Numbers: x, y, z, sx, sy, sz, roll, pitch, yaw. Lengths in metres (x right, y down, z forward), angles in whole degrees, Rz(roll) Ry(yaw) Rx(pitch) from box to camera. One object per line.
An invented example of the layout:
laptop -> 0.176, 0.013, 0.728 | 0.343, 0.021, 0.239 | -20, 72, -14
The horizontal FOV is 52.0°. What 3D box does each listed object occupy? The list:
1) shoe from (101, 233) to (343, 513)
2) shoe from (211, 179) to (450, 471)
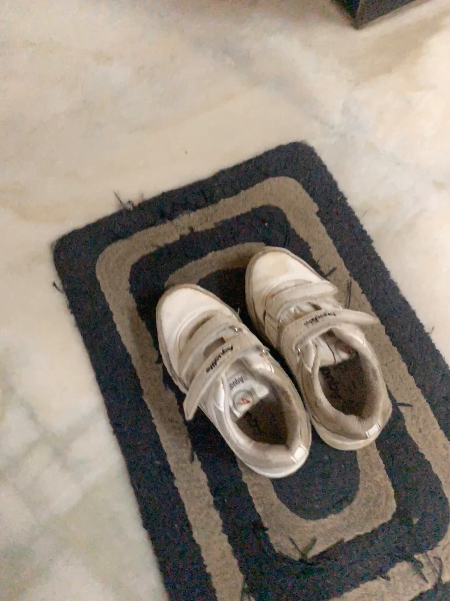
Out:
shoe -> -0.005, 0.056, 0.374 | 0.080, 0.090, 0.191 | -34, 72, -8
shoe -> 0.072, 0.021, 0.369 | 0.080, 0.090, 0.201 | -26, 71, -5
